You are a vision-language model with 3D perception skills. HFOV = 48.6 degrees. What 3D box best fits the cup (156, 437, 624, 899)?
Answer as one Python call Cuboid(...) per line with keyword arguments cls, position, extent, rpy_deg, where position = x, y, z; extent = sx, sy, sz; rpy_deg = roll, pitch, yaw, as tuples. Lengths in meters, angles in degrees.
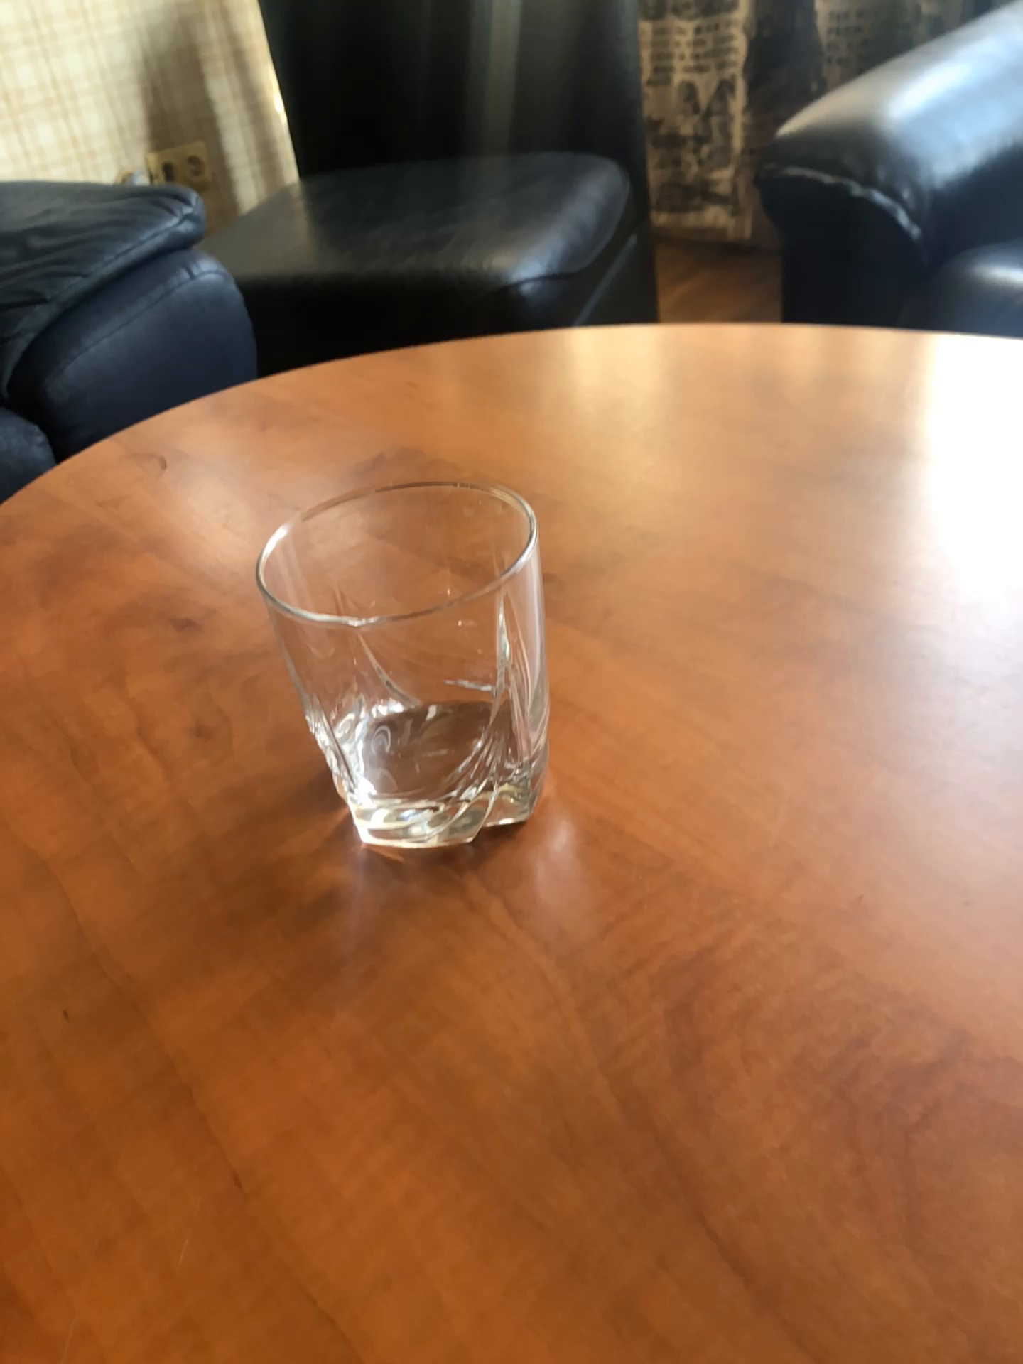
Cuboid(cls="cup", position=(-0.029, -0.010, 0.340), extent=(0.089, 0.086, 0.095), rpy_deg=(-6, 35, 4))
